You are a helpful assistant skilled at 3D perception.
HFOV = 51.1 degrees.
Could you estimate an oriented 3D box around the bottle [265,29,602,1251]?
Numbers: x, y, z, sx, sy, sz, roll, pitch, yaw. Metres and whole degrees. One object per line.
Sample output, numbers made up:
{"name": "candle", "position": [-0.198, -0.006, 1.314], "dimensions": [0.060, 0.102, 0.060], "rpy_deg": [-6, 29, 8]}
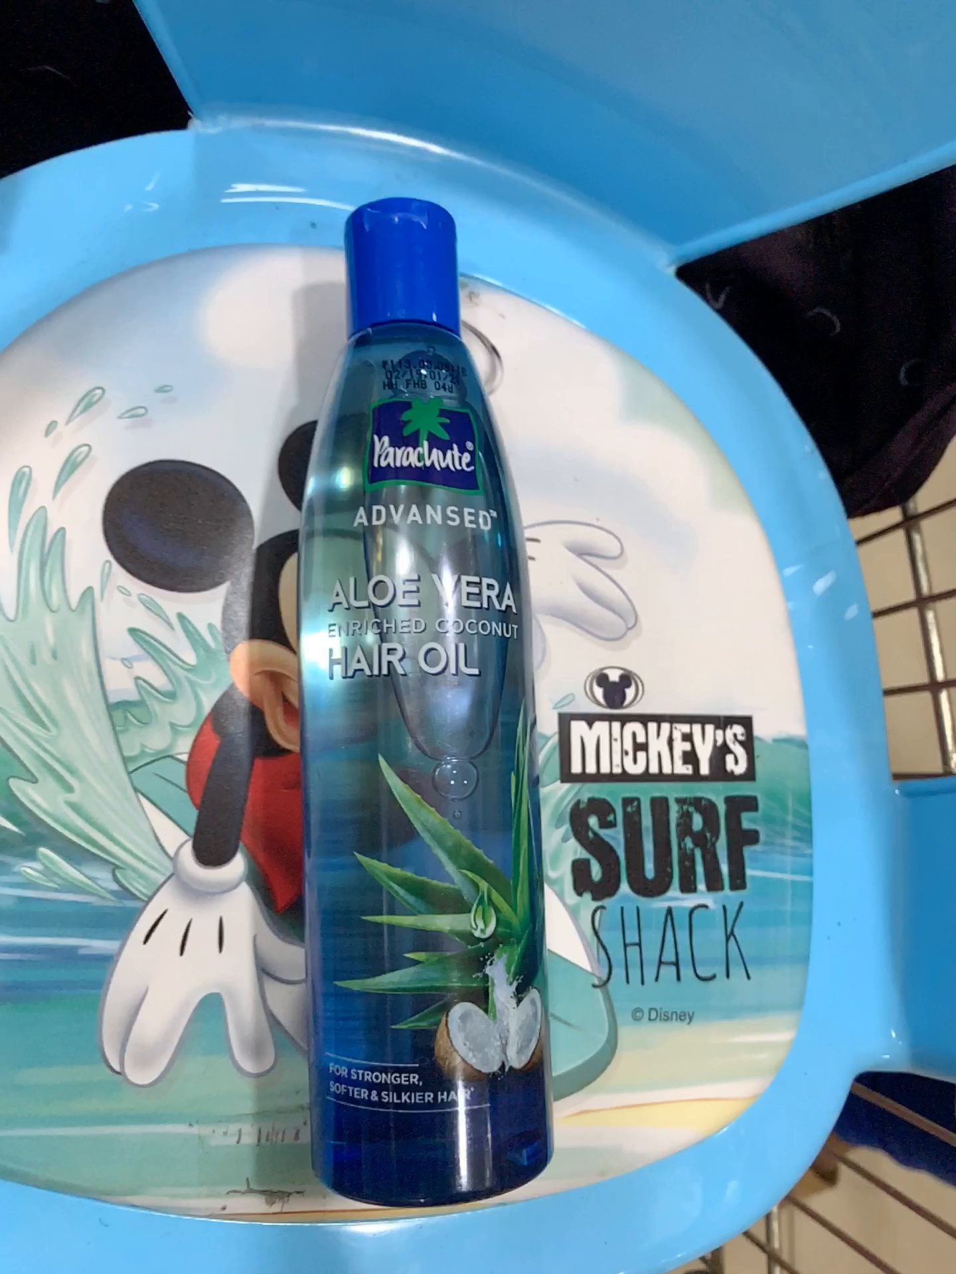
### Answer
{"name": "bottle", "position": [-0.010, -0.001, 0.195], "dimensions": [0.050, 0.050, 0.200], "rpy_deg": [2, 86, -19]}
